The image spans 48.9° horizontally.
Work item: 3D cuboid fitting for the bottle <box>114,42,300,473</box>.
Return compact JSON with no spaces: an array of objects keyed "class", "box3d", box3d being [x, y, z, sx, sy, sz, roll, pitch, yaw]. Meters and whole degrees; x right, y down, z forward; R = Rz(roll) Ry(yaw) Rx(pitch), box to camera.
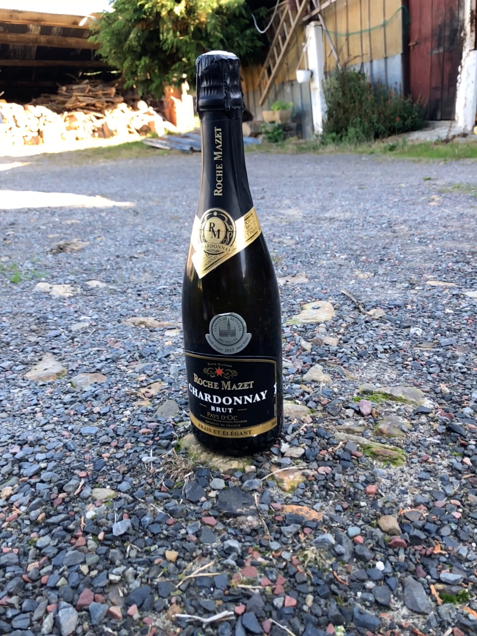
[{"class":"bottle","box3d":[-0.012,-0.042,0.416,0.100,0.299,0.101,-1,20,1]}]
